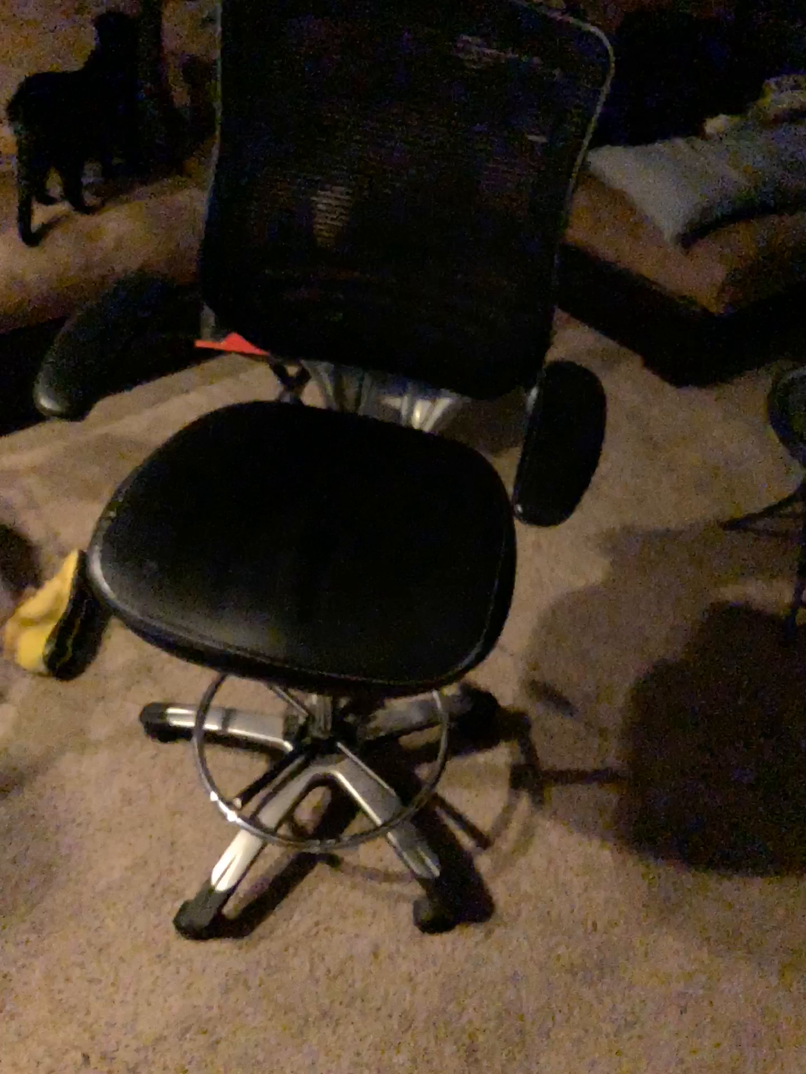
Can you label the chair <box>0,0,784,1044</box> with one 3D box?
[{"bbox_3d":[-0.075,-0.062,1.295,0.760,1.170,0.930,13,45,8],"label":"chair"}]
